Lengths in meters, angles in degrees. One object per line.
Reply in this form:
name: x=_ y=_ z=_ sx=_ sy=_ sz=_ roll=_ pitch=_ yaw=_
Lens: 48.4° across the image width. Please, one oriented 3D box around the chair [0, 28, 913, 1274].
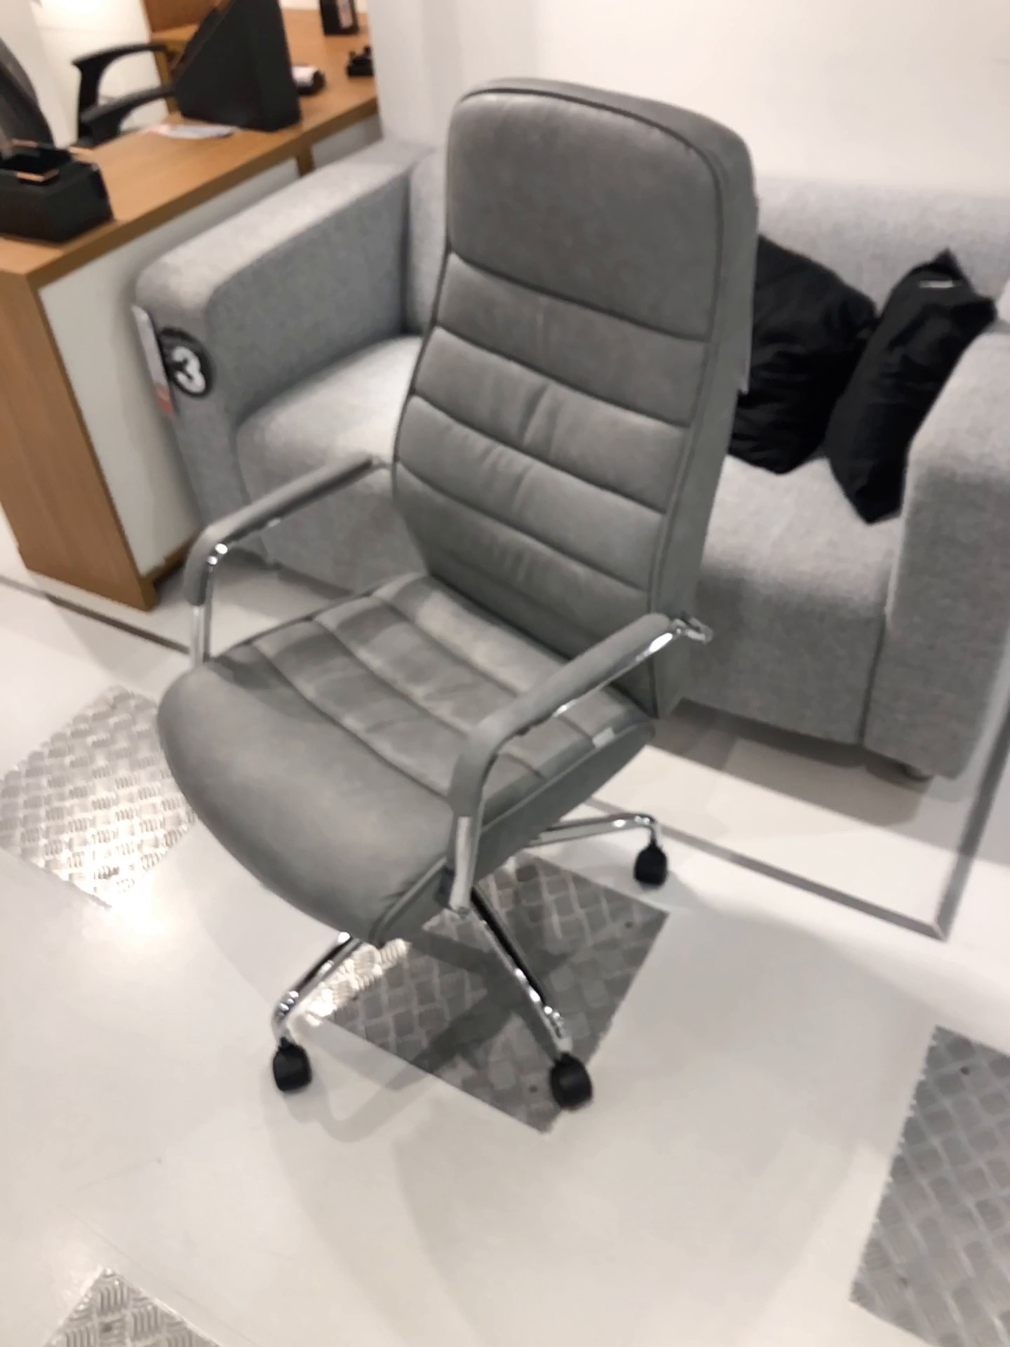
chair: x=-0.127 y=-0.046 z=1.322 sx=0.723 sy=1.052 sz=0.723 roll=-35 pitch=49 yaw=-29
